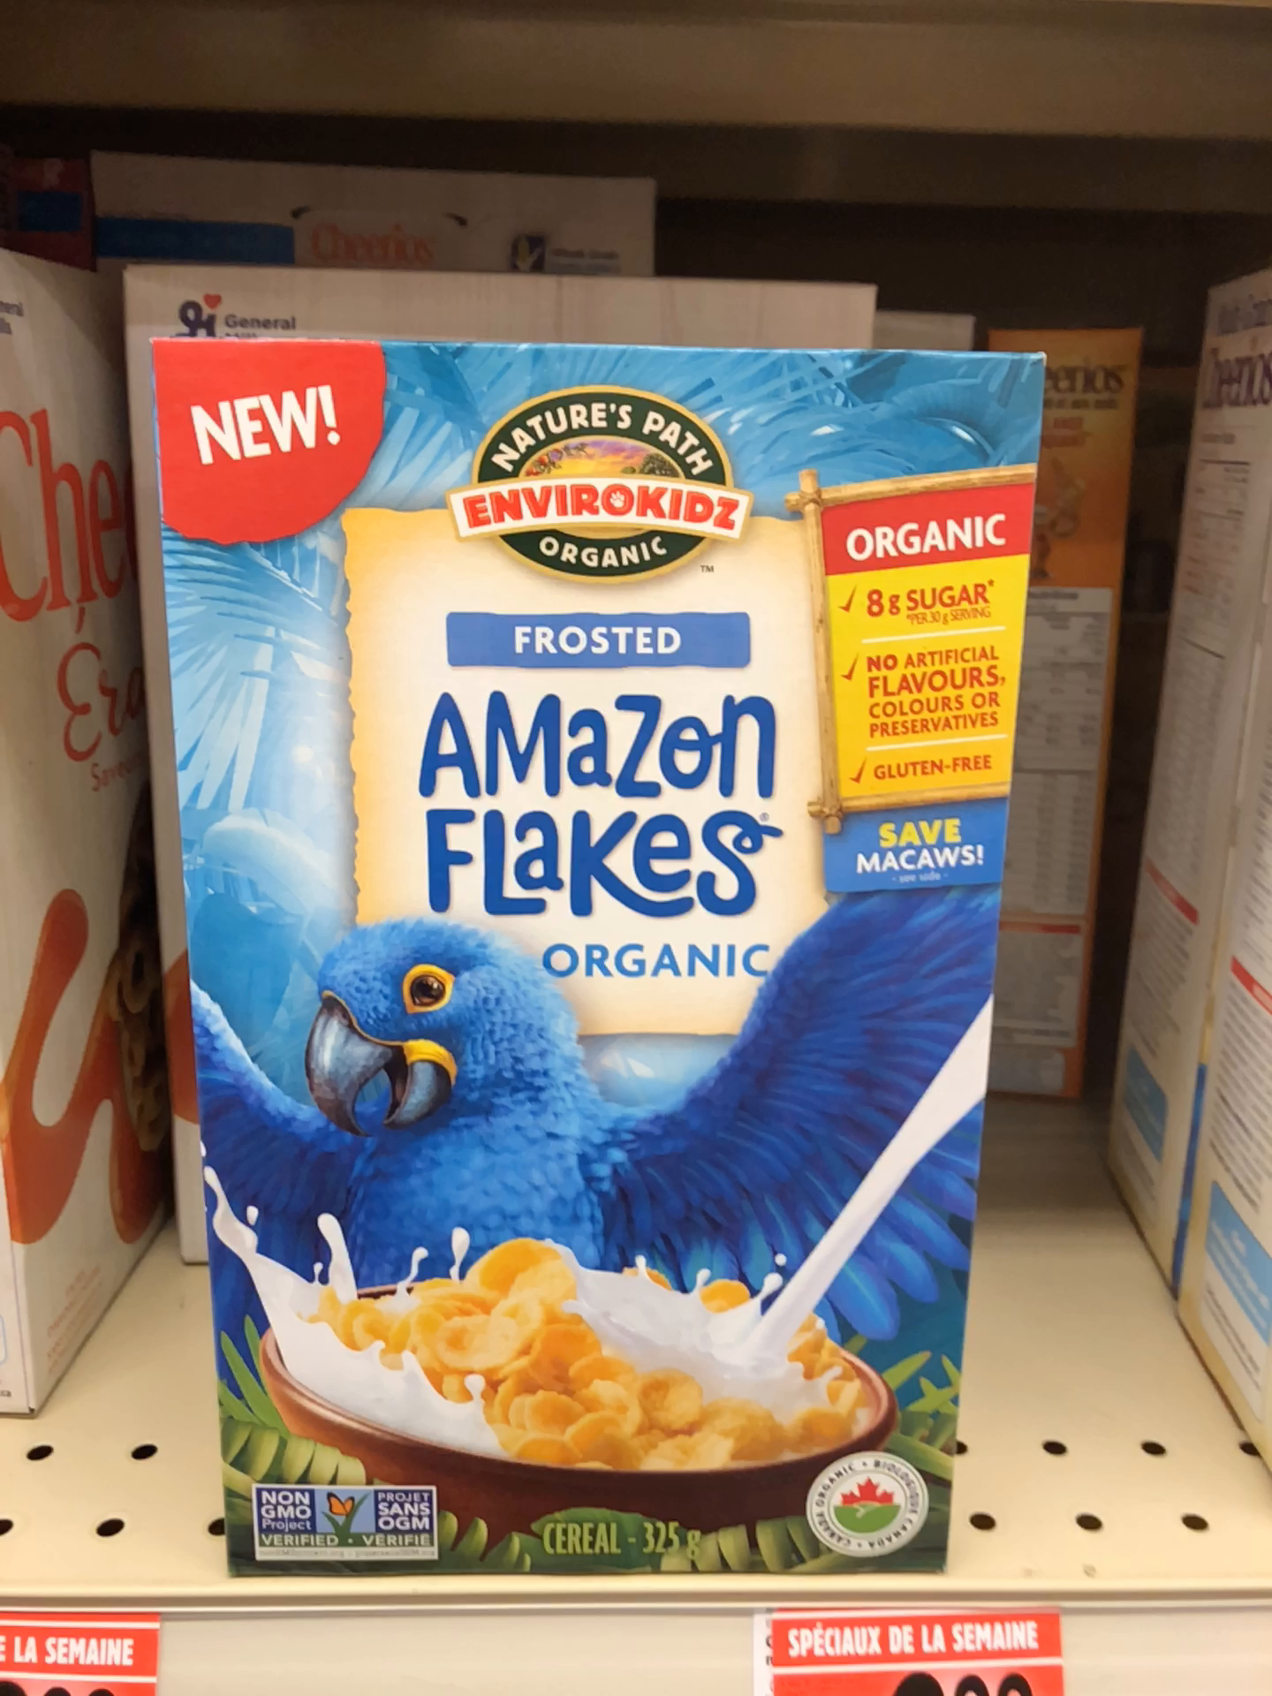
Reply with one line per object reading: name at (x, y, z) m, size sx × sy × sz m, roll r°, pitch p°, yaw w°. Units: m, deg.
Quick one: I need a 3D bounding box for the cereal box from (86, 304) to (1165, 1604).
cereal box at (-0.004, 0.028, 0.281) m, size 0.170 × 0.249 × 0.050 m, roll 1°, pitch 16°, yaw -2°
